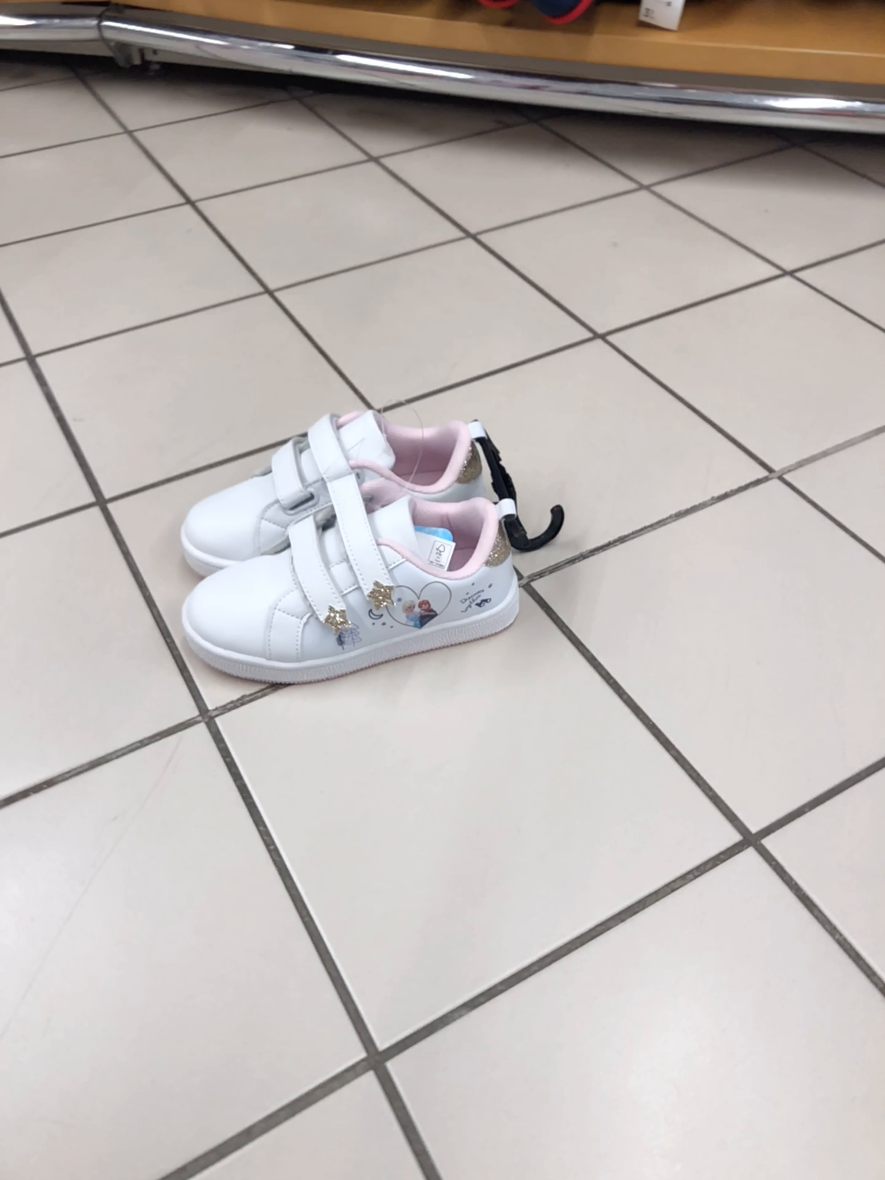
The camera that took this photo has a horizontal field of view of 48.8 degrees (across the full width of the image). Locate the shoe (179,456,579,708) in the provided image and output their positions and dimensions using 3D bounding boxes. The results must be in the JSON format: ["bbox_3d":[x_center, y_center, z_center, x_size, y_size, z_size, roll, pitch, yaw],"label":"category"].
[{"bbox_3d":[-0.035,-0.007,0.541,0.200,0.070,0.080,-10,46,-9],"label":"shoe"}]

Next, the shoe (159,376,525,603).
[{"bbox_3d":[-0.059,-0.063,0.587,0.200,0.070,0.080,-10,46,-9],"label":"shoe"}]
